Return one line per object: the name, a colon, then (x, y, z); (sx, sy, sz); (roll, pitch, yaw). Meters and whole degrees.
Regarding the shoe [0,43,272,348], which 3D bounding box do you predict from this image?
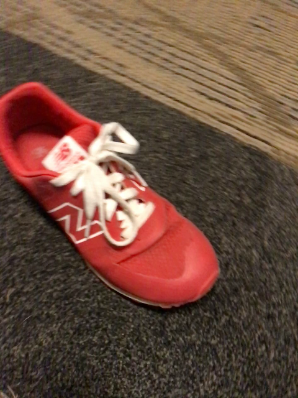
shoe: (-0.043, -0.006, 0.294); (0.256, 0.108, 0.101); (41, 65, 15)
